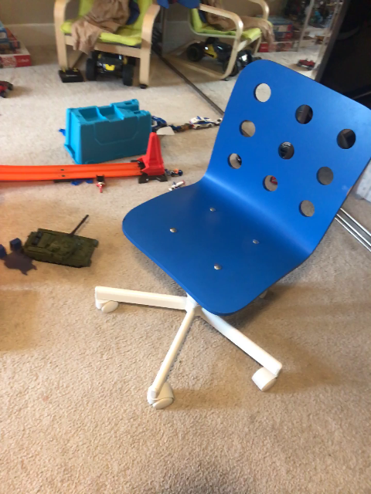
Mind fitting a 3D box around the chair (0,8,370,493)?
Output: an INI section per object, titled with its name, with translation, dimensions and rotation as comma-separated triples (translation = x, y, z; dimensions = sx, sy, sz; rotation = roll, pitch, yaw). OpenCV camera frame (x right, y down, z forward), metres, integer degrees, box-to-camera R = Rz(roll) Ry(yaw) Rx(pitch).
[chair]
translation = 0.072, -0.008, 1.001
dimensions = 0.674, 0.814, 0.621
rotation = -30, 60, -34
